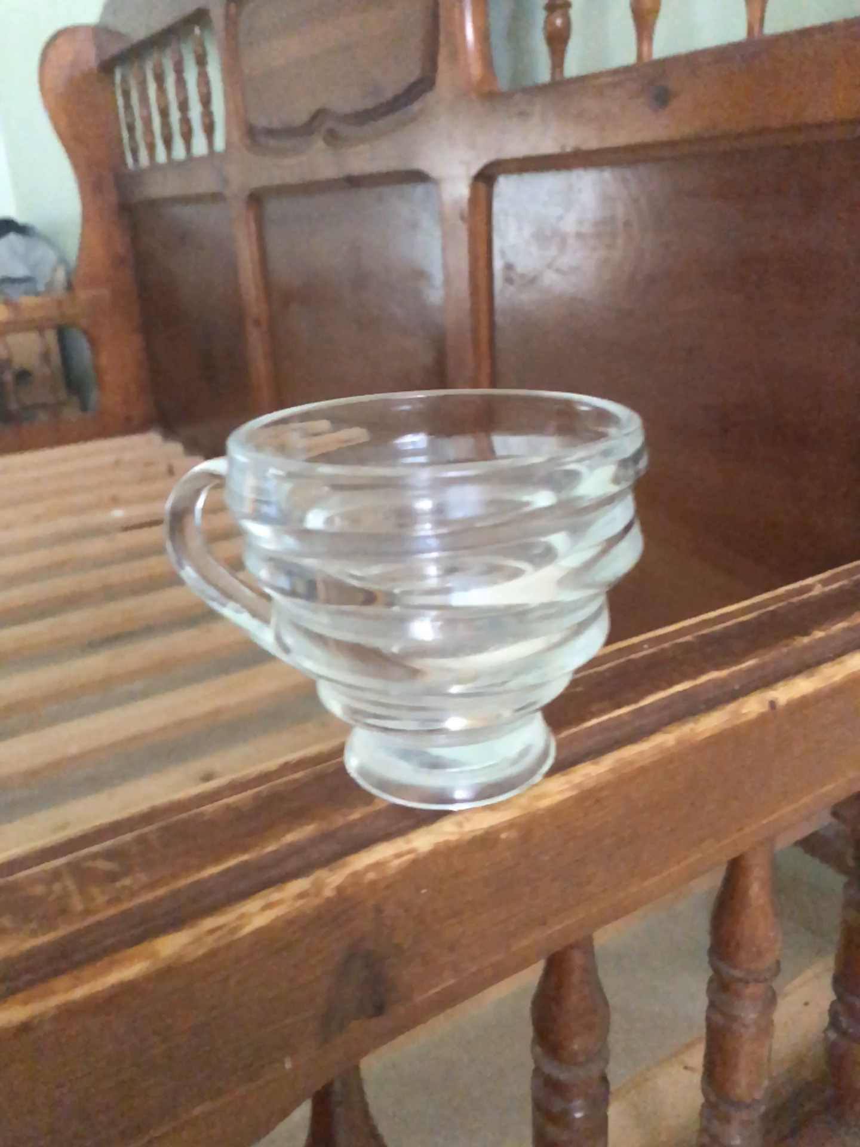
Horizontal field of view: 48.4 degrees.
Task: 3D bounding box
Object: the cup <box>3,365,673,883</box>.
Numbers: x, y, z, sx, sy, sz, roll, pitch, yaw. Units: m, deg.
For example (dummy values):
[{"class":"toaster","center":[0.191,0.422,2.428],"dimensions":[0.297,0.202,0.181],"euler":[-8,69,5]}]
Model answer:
[{"class":"cup","center":[-0.016,-0.002,0.196],"dimensions":[0.106,0.065,0.076],"euler":[10,24,32]}]
